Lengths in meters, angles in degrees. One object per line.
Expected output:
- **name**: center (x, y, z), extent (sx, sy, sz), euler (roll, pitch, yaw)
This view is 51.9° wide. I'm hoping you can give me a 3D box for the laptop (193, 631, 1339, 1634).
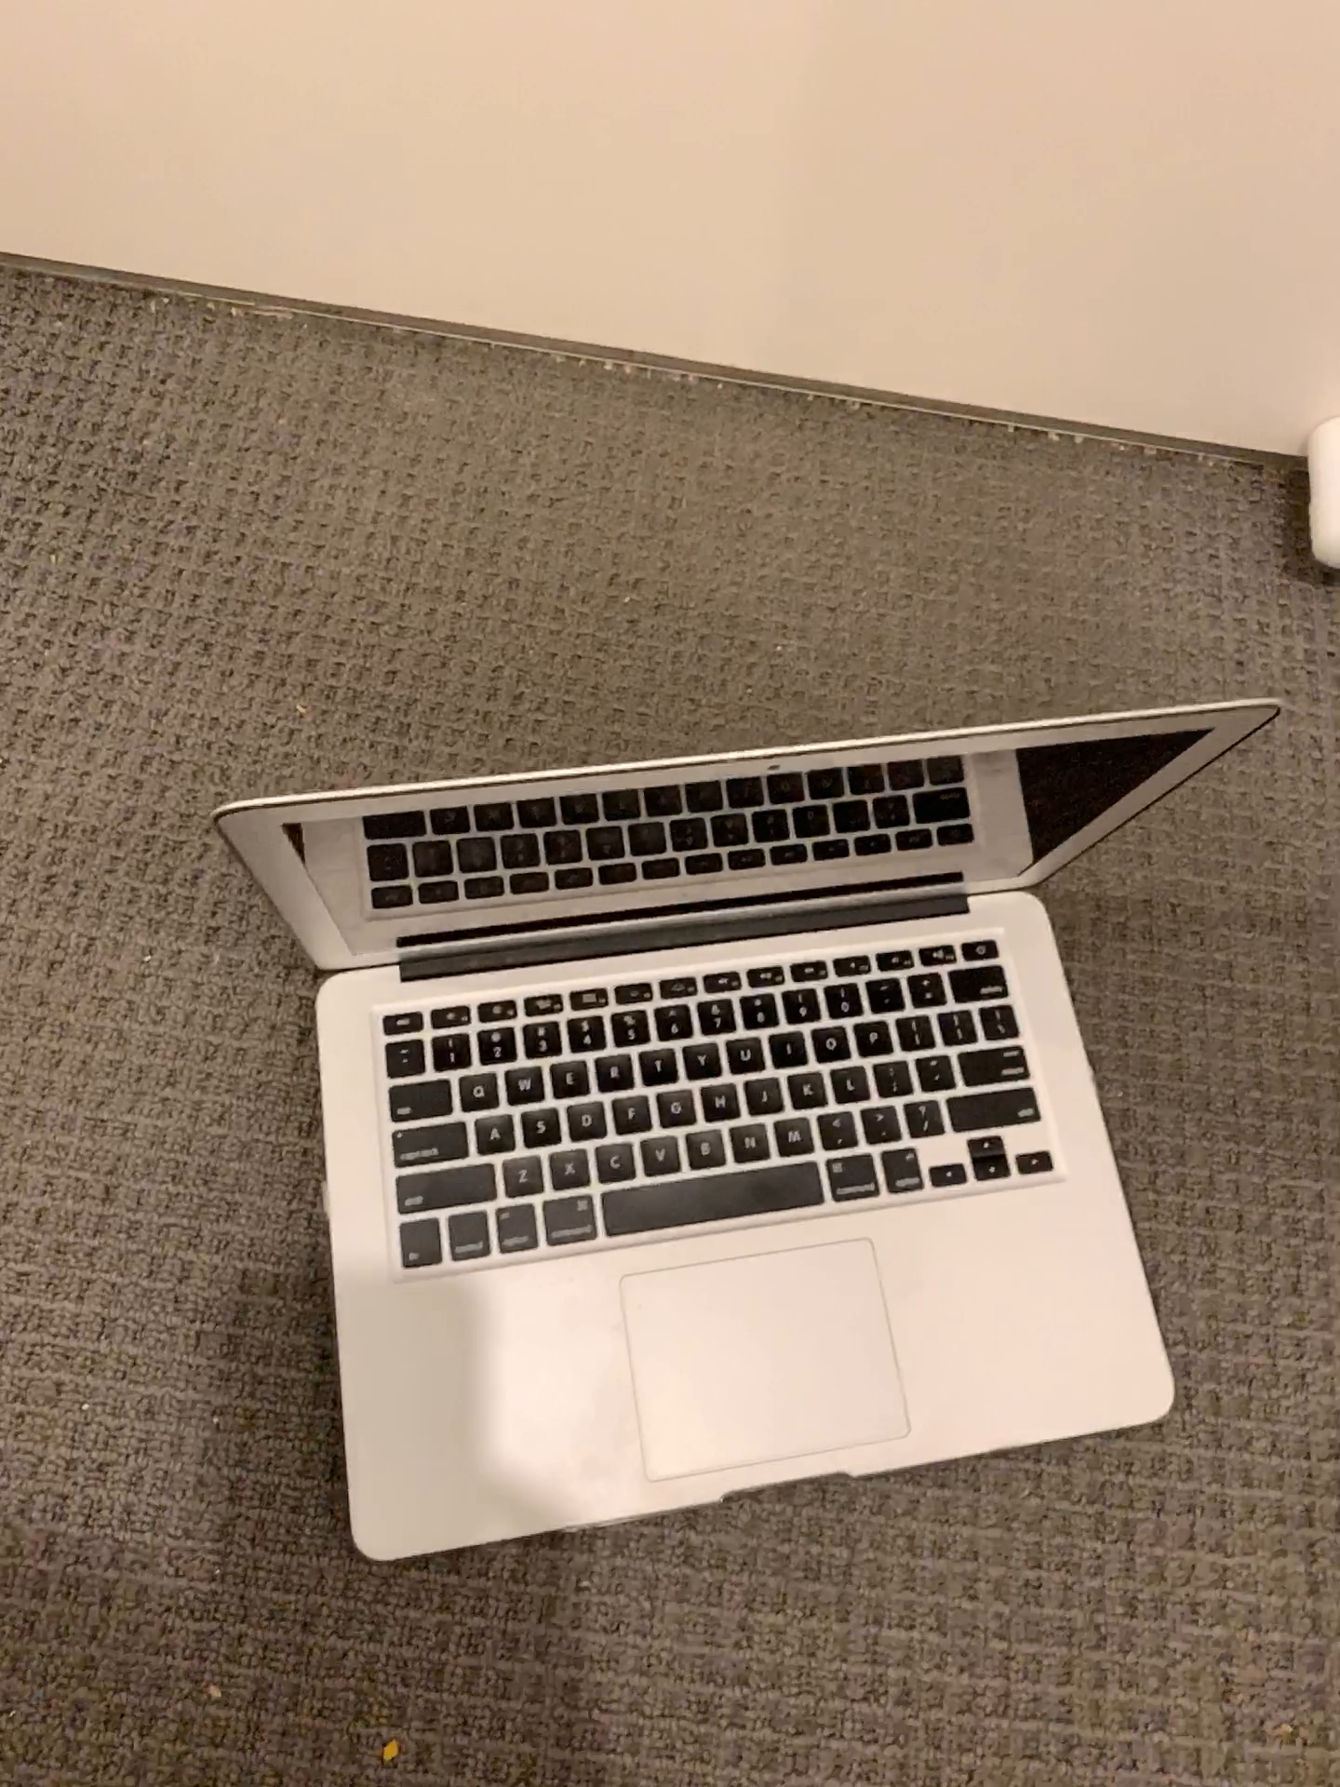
- **laptop**: center (0.034, 0.081, 0.468), extent (0.322, 0.215, 0.226), euler (-7, 69, -8)
